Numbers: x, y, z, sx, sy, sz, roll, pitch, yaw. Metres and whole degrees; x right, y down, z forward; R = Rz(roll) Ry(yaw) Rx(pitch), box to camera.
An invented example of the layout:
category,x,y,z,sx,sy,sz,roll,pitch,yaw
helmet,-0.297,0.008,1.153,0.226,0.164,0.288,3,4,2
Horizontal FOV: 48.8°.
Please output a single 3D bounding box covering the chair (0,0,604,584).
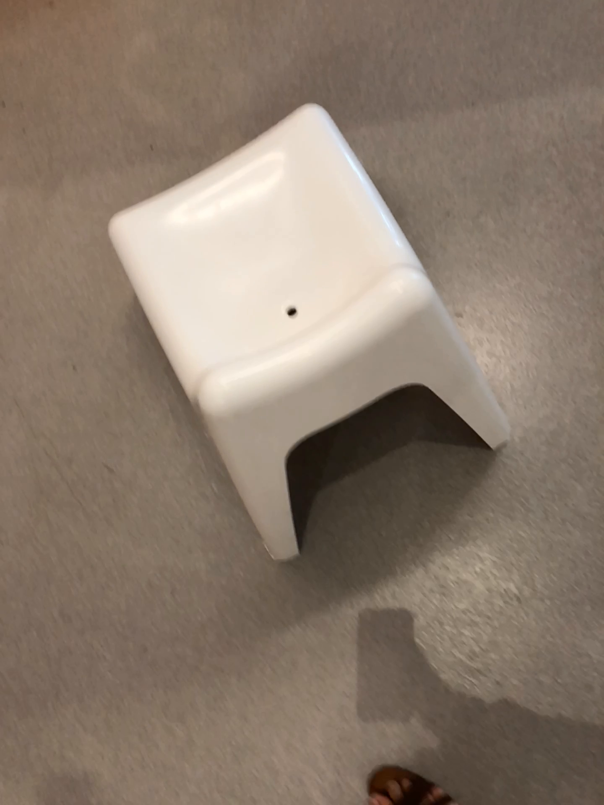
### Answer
category,x,y,z,sx,sy,sz,roll,pitch,yaw
chair,-0.019,-0.184,0.981,0.530,0.400,0.691,-31,70,1
